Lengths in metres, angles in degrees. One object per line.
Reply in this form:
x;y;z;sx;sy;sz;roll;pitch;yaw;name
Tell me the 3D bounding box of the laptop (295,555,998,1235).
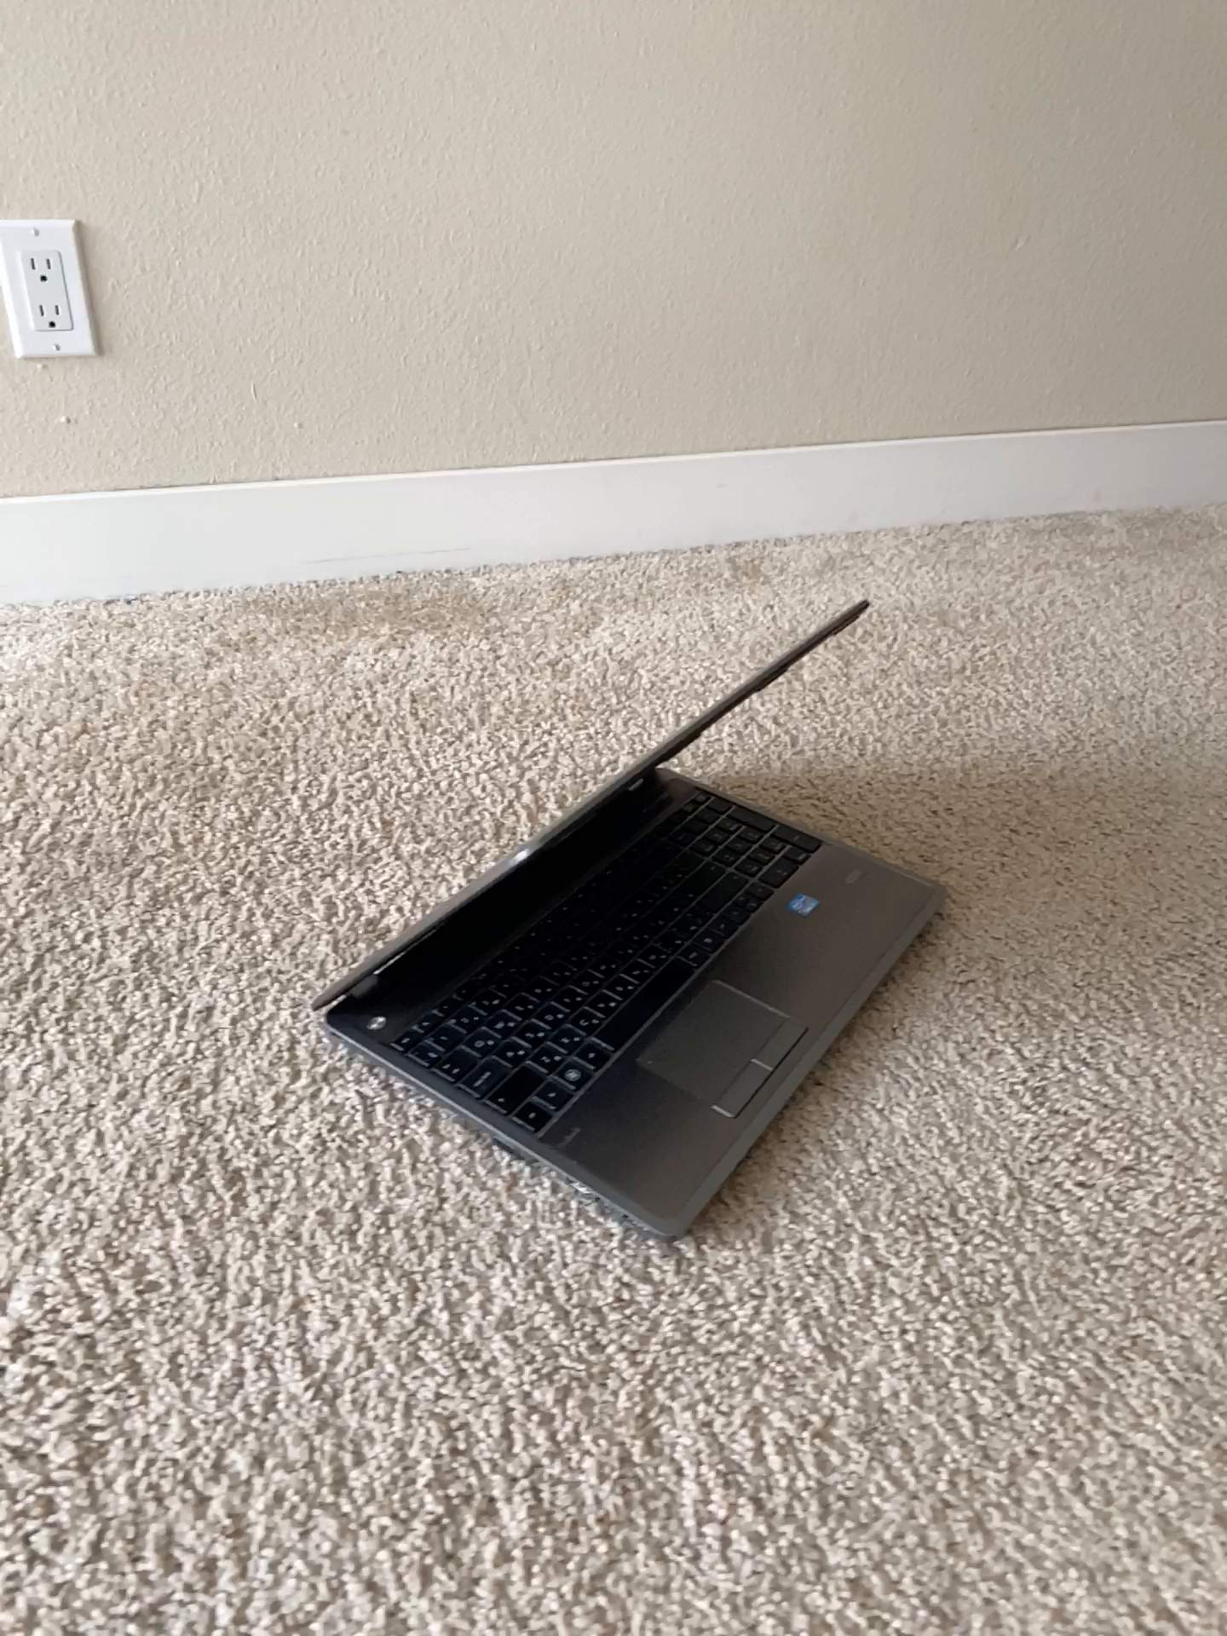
0.035;0.010;0.773;0.254;0.186;0.369;23;37;26;laptop
